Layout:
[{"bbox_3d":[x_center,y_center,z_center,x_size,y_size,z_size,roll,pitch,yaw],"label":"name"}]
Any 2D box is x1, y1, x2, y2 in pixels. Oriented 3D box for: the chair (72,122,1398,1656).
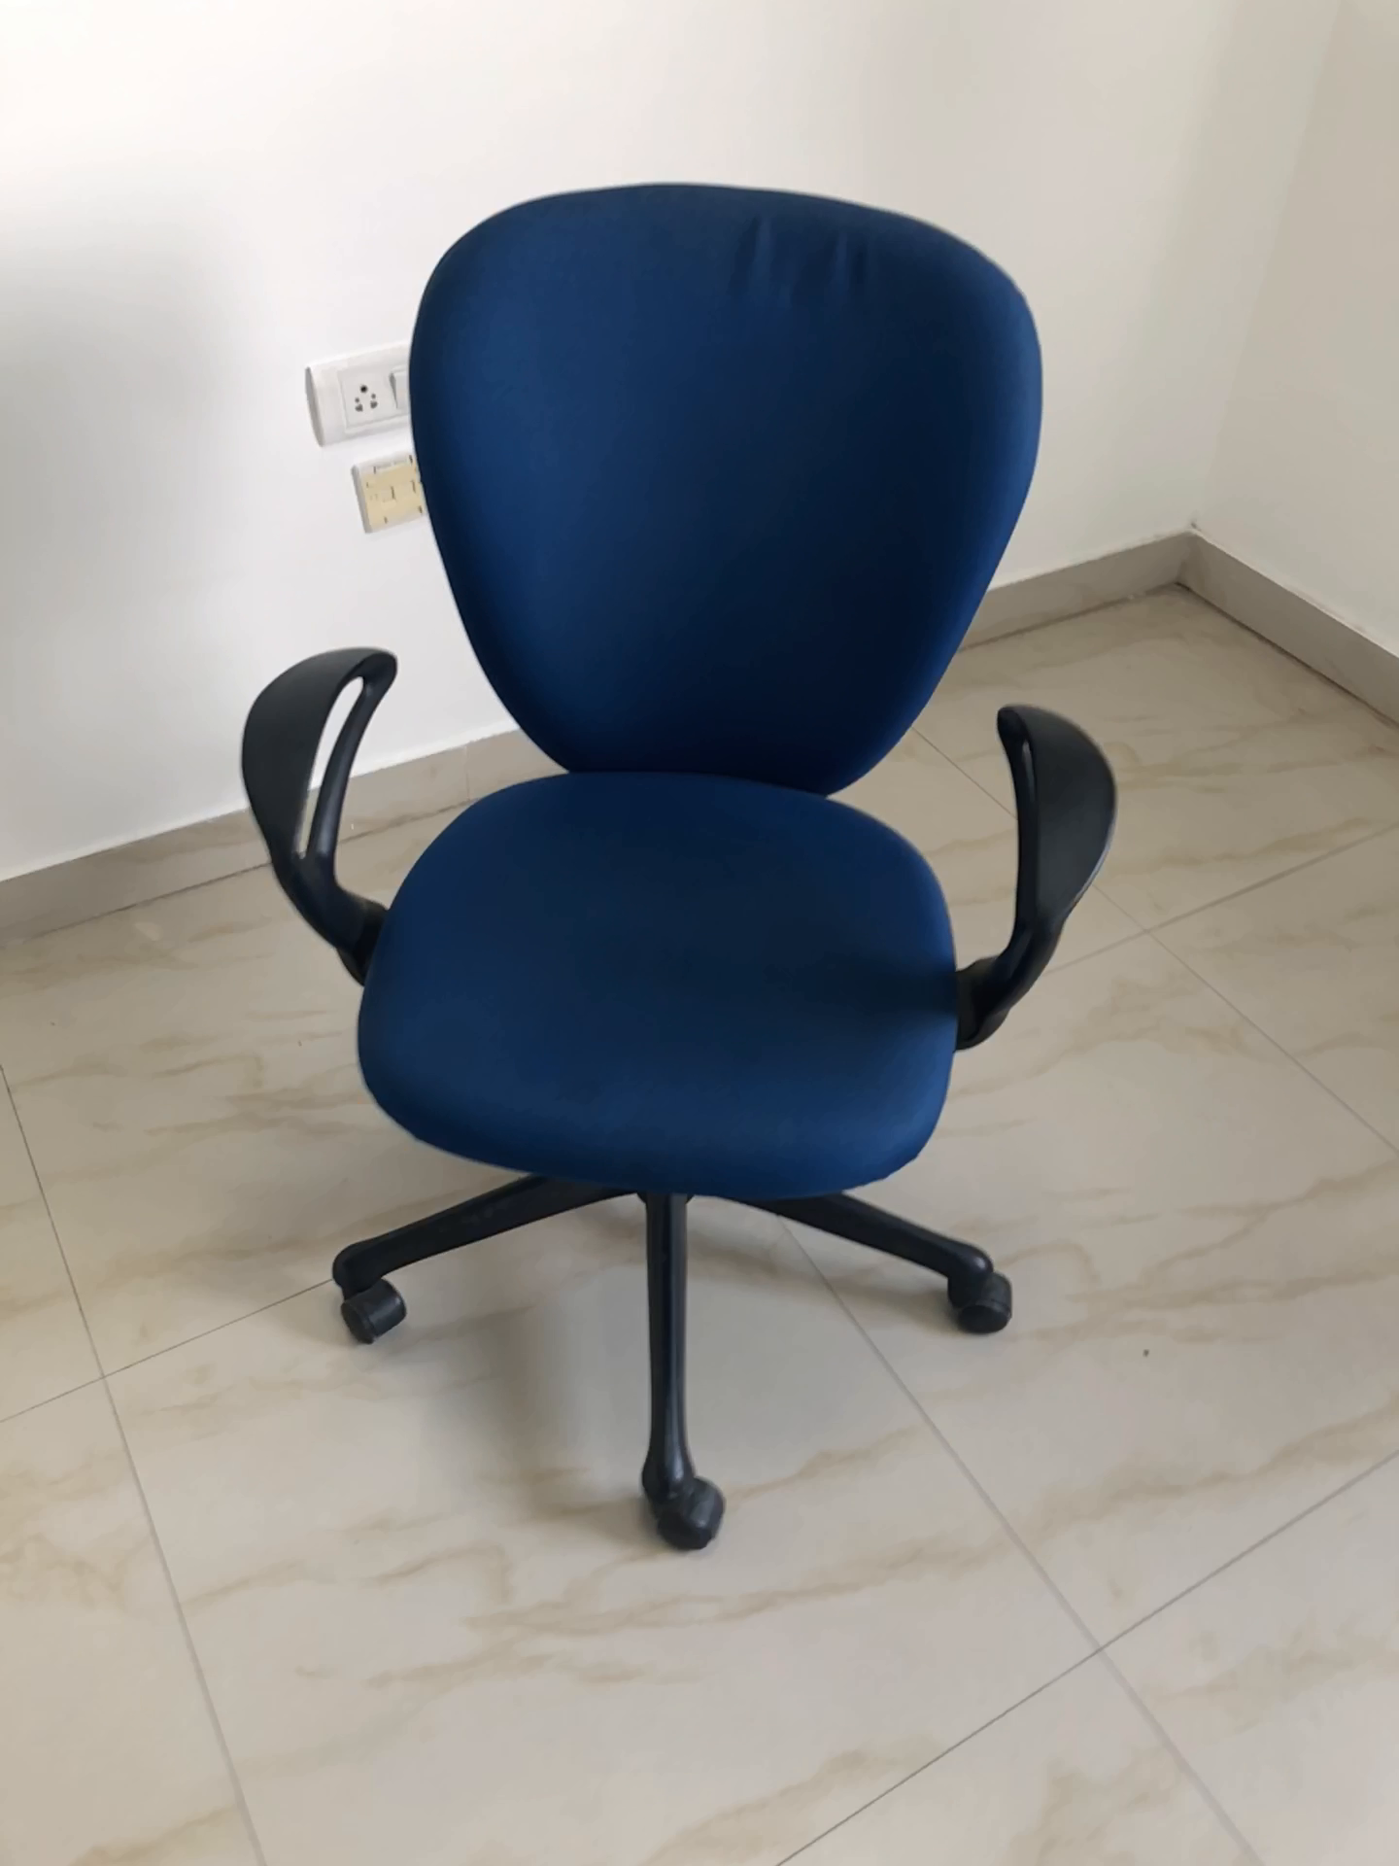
[{"bbox_3d":[-0.039,-0.039,1.236,0.650,0.914,0.704,-9,44,-12],"label":"chair"}]
